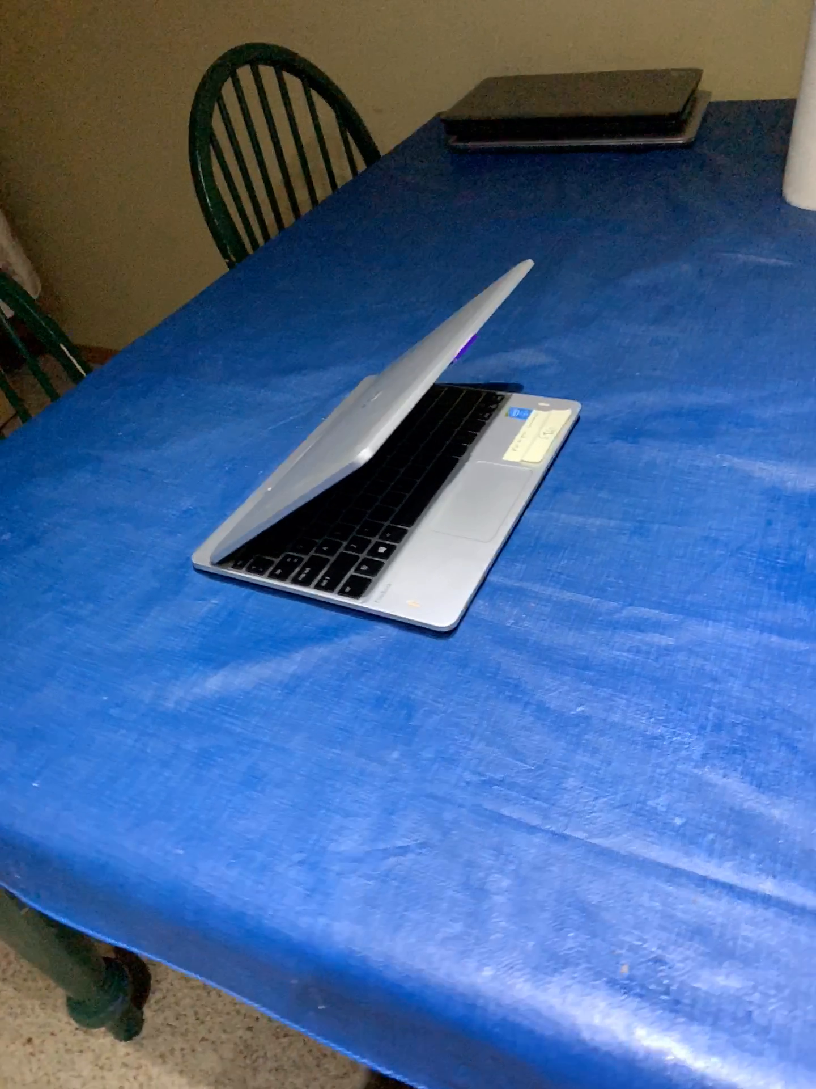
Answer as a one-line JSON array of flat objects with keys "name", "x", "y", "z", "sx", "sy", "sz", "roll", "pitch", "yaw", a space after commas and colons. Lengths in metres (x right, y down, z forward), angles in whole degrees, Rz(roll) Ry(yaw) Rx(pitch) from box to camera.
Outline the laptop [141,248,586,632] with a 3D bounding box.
[{"name": "laptop", "x": -0.010, "y": -0.100, "z": 0.615, "sx": 0.207, "sy": 0.122, "sz": 0.281, "roll": 12, "pitch": 43, "yaw": 25}]
